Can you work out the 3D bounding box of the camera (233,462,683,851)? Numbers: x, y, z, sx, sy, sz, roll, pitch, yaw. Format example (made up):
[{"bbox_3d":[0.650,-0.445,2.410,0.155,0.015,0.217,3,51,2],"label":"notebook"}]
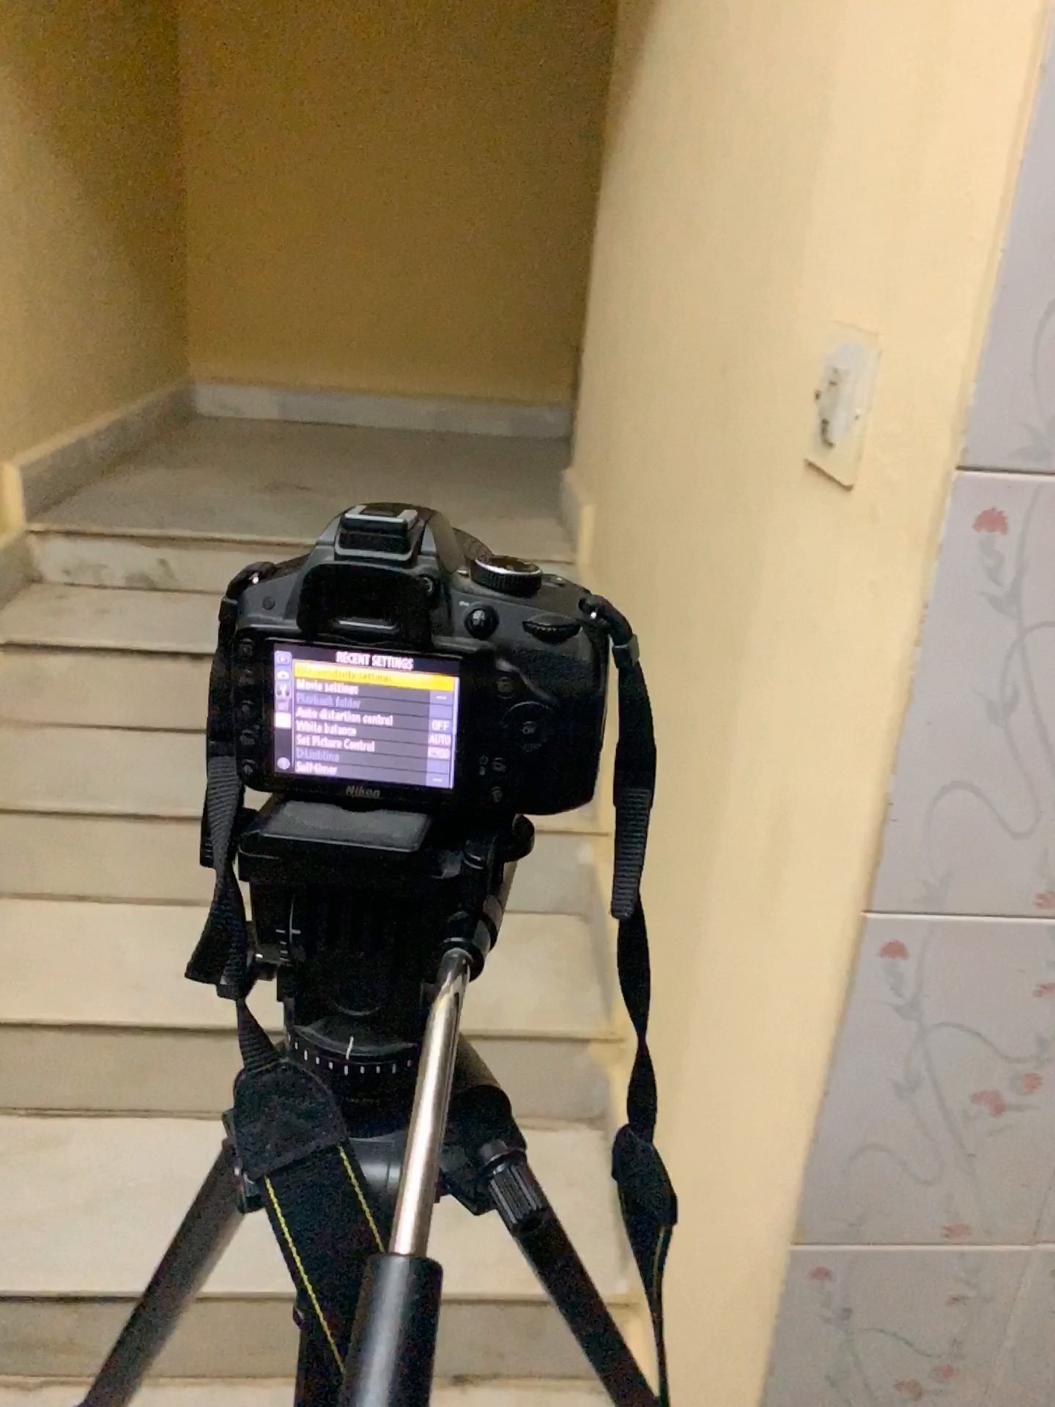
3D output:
[{"bbox_3d":[-0.017,-0.026,0.393,0.134,0.090,0.131,7,21,6],"label":"camera"}]
